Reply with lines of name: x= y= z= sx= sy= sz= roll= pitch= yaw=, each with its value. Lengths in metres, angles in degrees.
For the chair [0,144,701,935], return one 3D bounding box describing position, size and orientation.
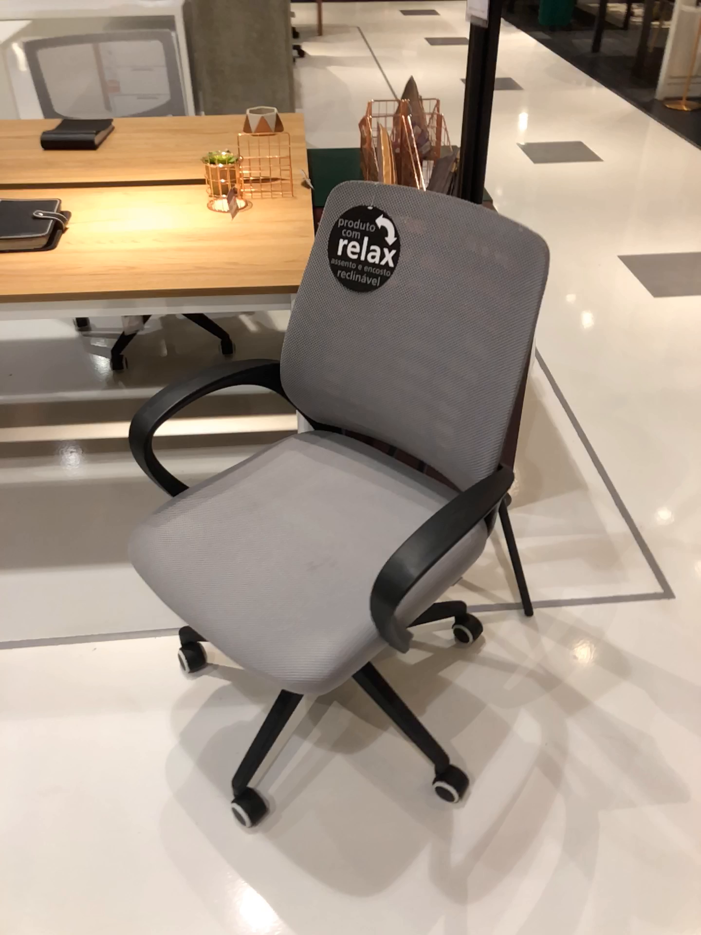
chair: x=-0.027 y=0.075 z=1.201 sx=0.662 sy=0.853 sz=0.663 roll=29 pitch=47 yaw=33
